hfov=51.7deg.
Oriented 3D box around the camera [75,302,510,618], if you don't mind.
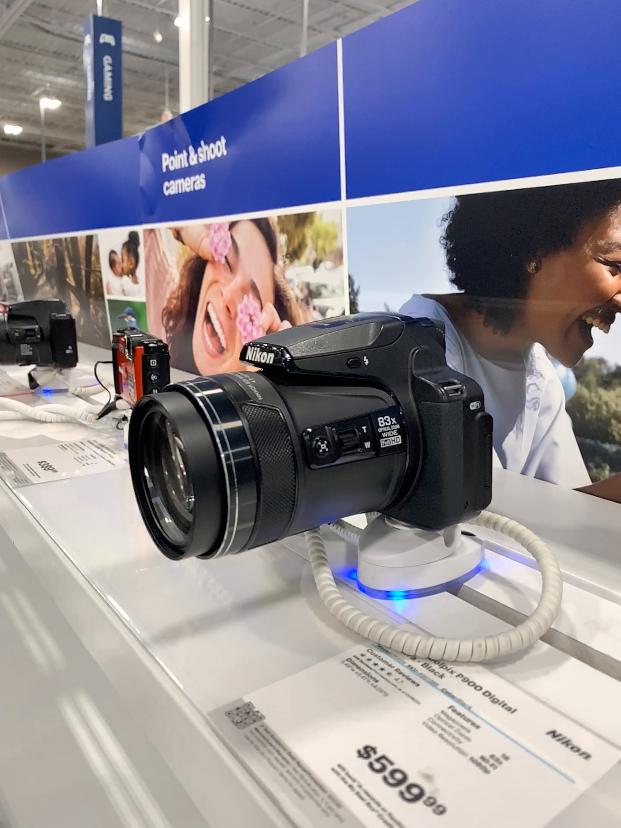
[{"bbox_3d":[-0.014,0.001,0.314,0.153,0.100,0.140,-7,16,-36],"label":"camera"}]
